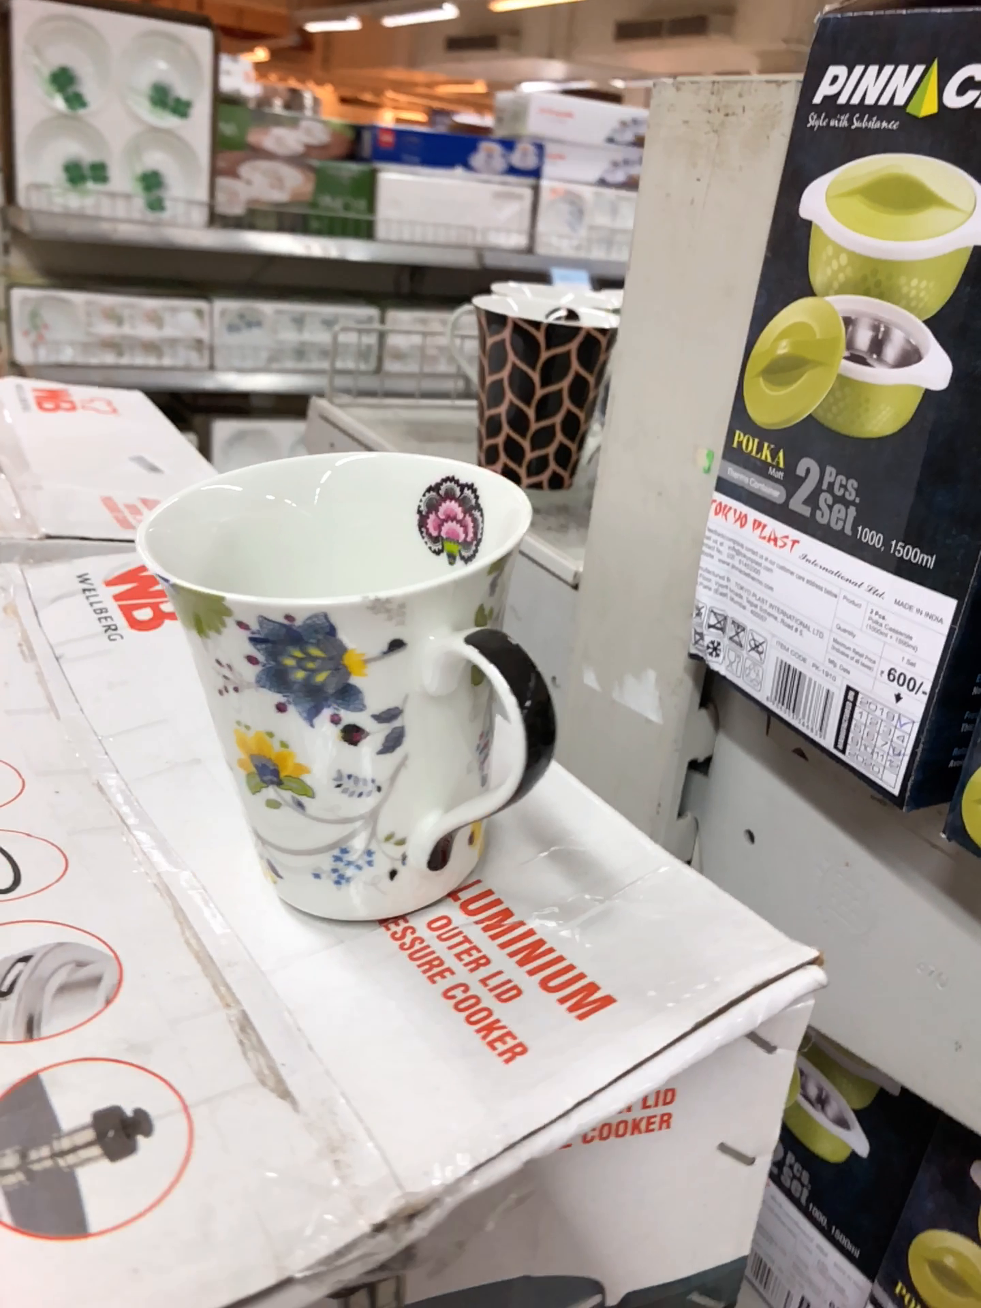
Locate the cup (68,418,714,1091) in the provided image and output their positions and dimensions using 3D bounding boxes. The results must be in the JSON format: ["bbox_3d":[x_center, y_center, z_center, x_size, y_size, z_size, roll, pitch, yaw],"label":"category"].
[{"bbox_3d":[-0.024,0.012,0.255,0.080,0.089,0.120,-27,39,-35],"label":"cup"}]
